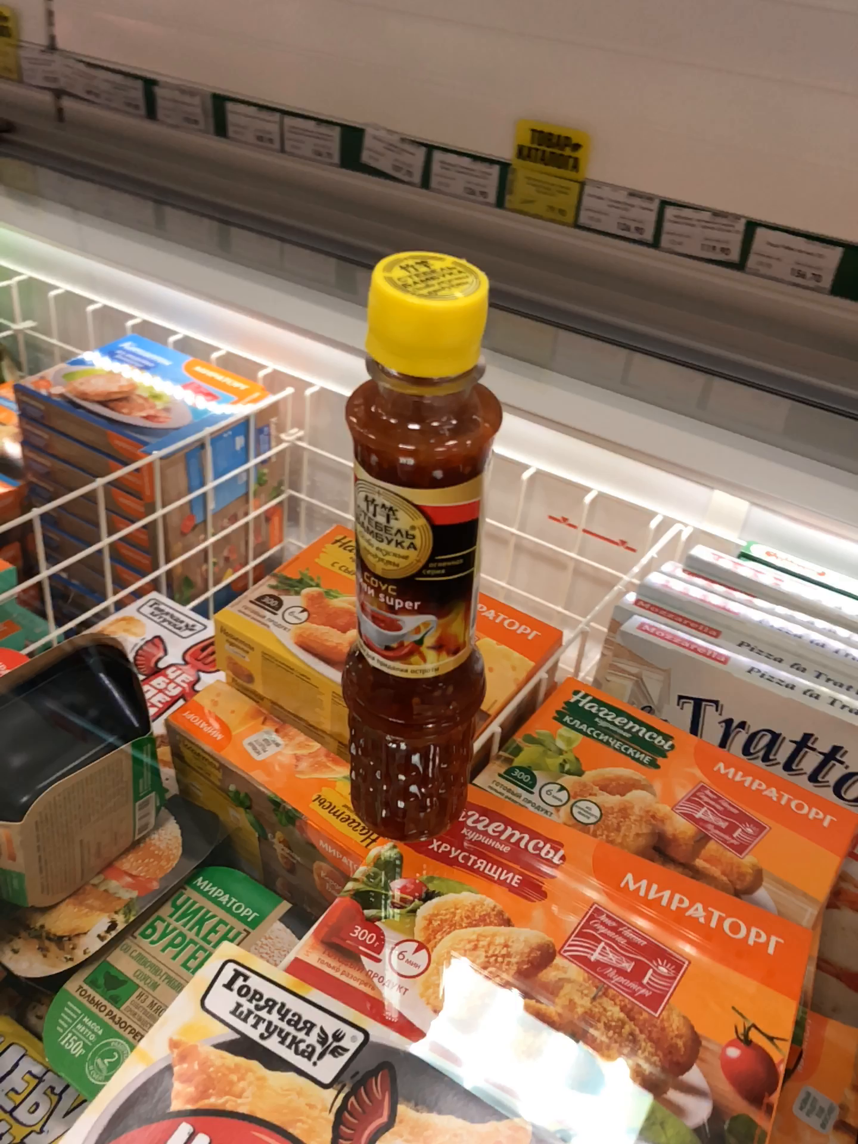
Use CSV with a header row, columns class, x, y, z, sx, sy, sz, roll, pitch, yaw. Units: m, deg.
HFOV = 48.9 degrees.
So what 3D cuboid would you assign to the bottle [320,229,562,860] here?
class,x,y,z,sx,sy,sz,roll,pitch,yaw
bottle,-0.002,0.005,0.313,0.048,0.212,0.047,3,38,-2
